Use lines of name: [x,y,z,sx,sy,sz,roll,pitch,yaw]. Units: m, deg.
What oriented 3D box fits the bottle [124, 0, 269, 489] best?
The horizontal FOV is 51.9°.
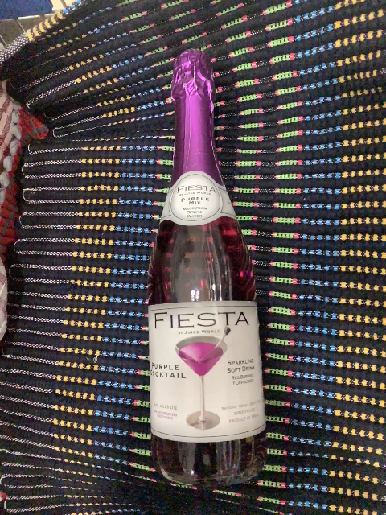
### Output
bottle: [0.003,-0.024,0.298,0.080,0.080,0.330,-4,77,13]
